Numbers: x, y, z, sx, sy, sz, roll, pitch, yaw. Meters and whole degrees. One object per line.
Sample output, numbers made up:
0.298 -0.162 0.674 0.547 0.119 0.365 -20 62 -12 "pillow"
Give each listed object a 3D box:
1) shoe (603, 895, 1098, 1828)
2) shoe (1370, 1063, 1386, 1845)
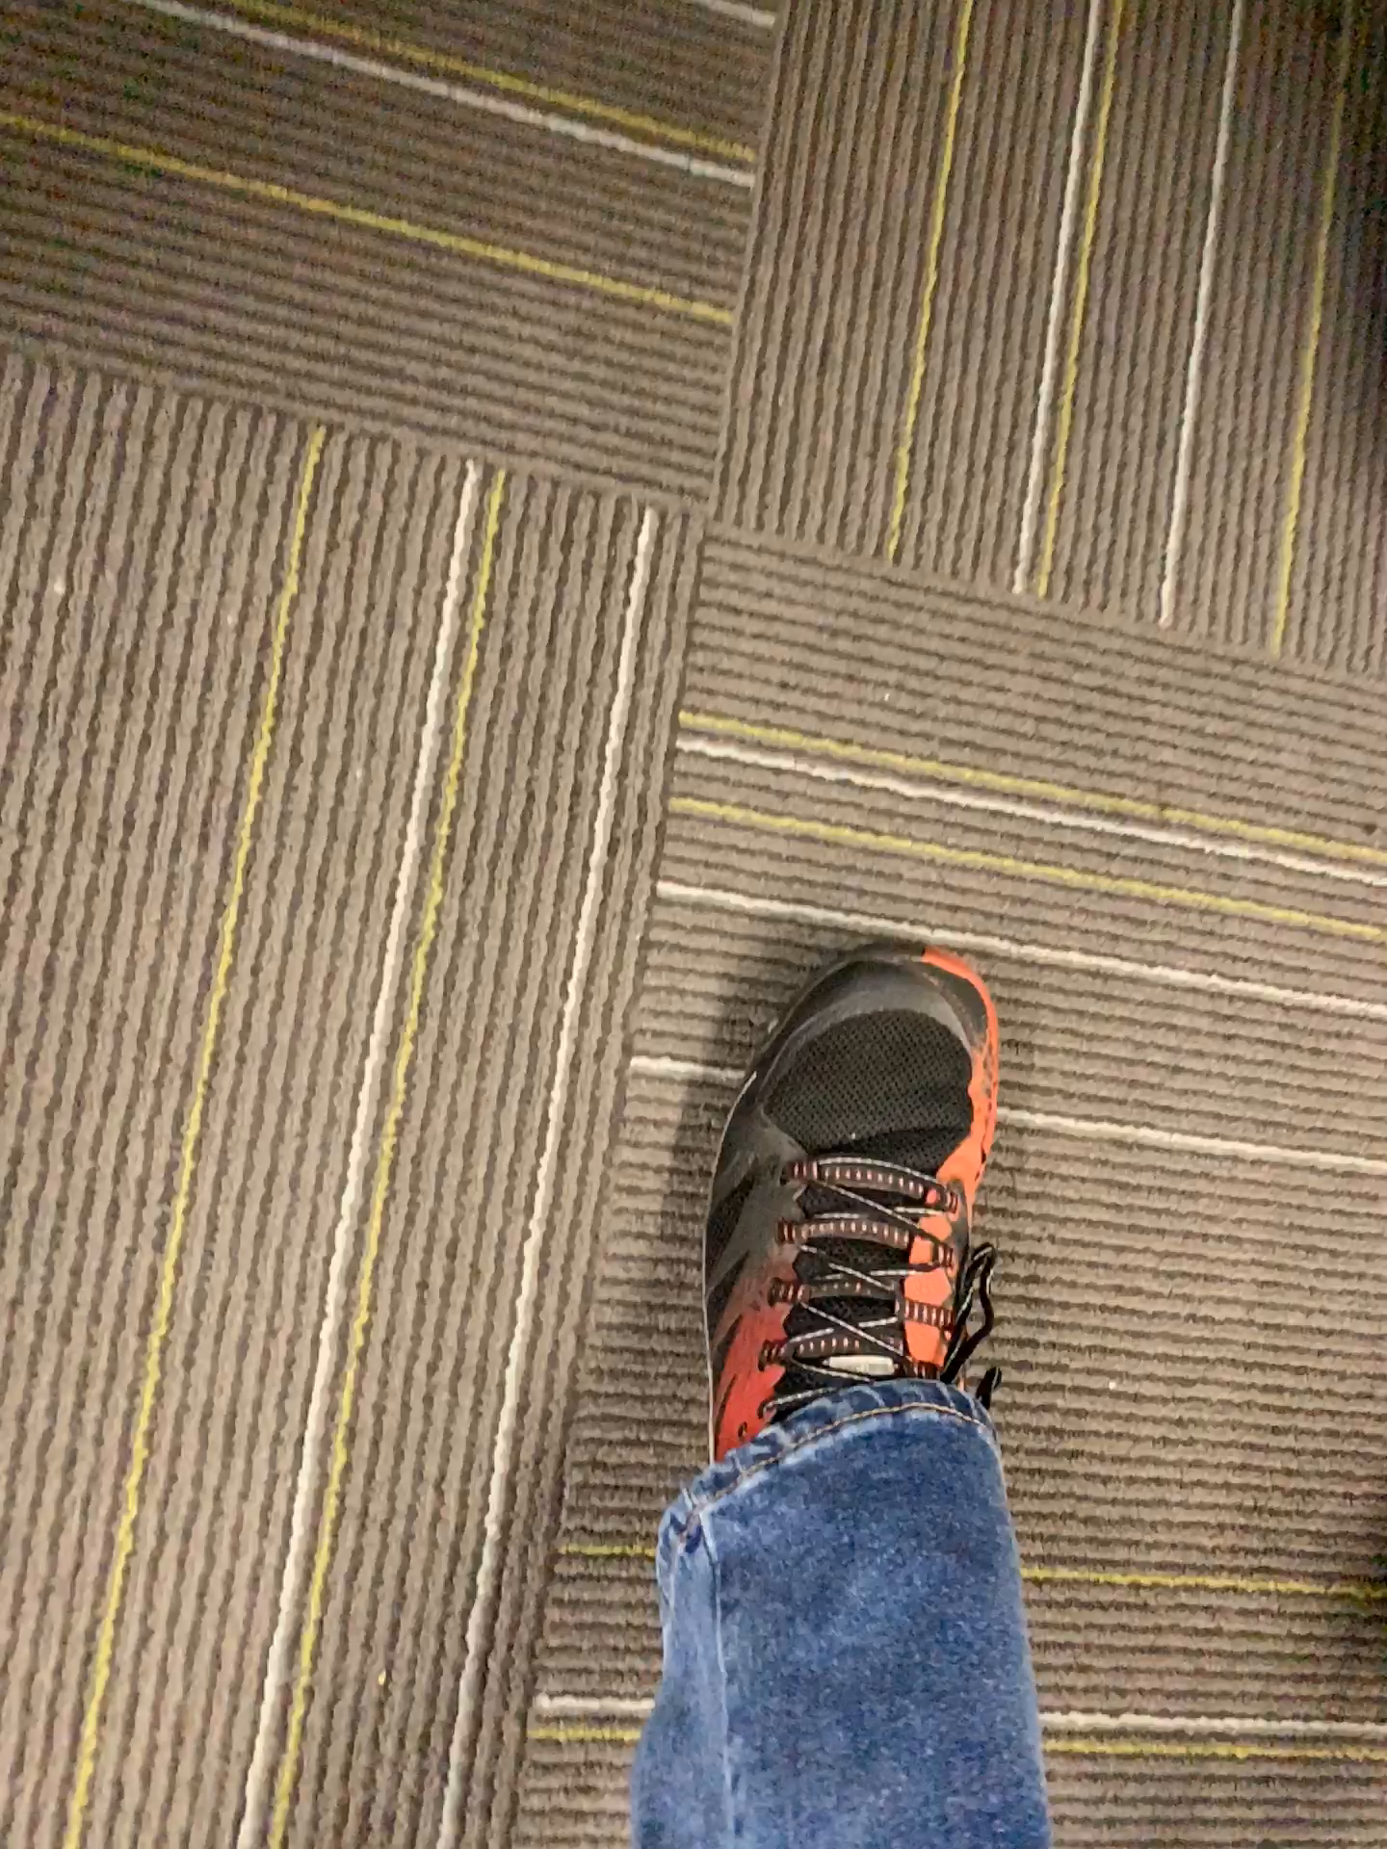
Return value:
0.061 0.153 0.550 0.131 0.090 0.305 8 85 6 "shoe"
0.427 0.232 0.643 0.140 0.090 0.302 20 83 -24 "shoe"
